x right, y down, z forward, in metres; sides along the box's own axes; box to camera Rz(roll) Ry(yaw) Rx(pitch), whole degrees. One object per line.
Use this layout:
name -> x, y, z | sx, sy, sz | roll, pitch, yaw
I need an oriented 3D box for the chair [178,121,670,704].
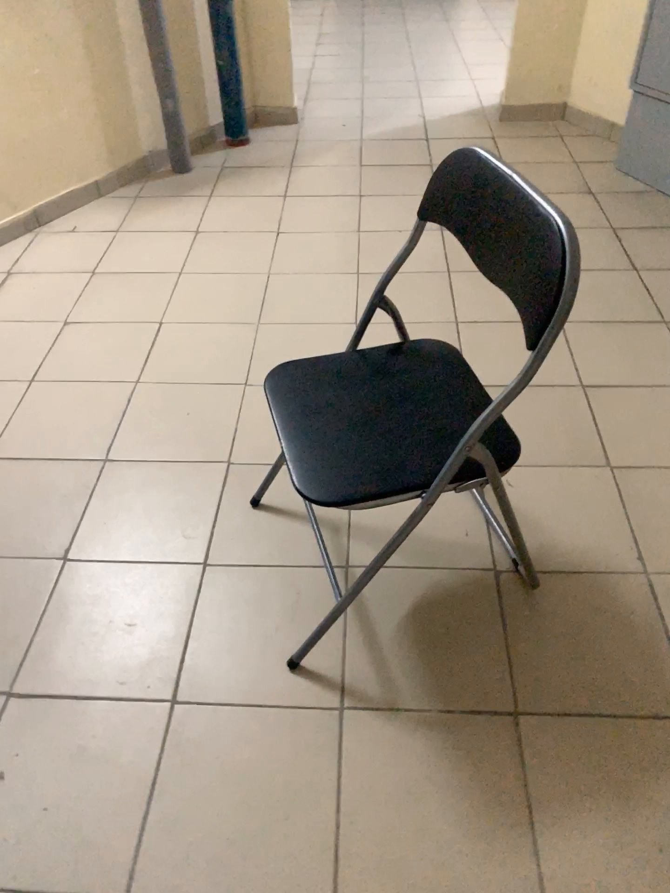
chair -> 0.099, -0.060, 1.182 | 0.560, 0.727, 0.573 | -11, 43, -9
